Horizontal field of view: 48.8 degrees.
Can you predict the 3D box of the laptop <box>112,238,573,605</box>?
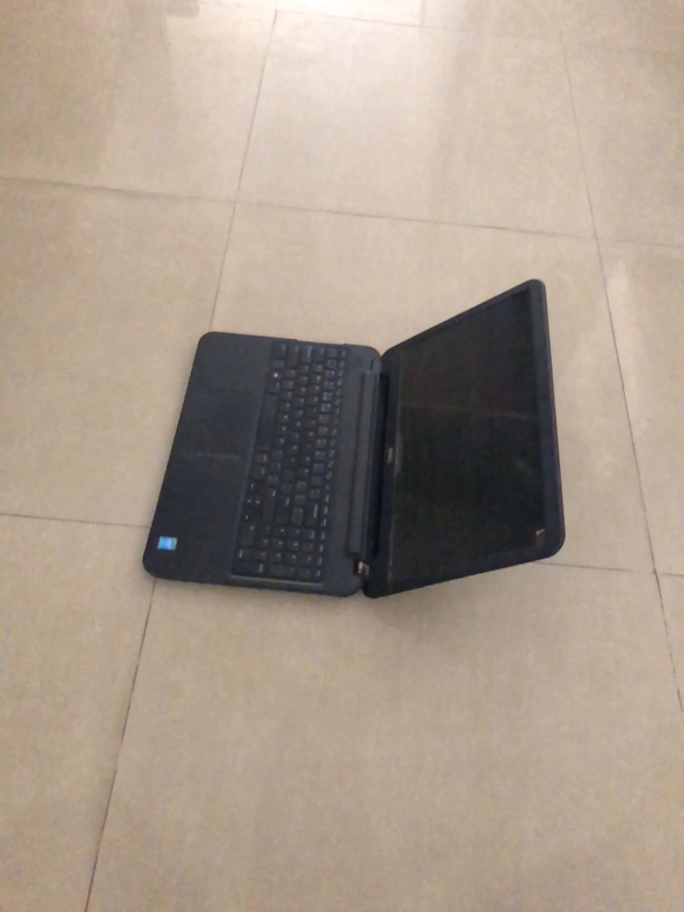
[{"bbox_3d":[0.012,-0.048,0.863,0.427,0.164,0.359,5,57,1],"label":"laptop"}]
